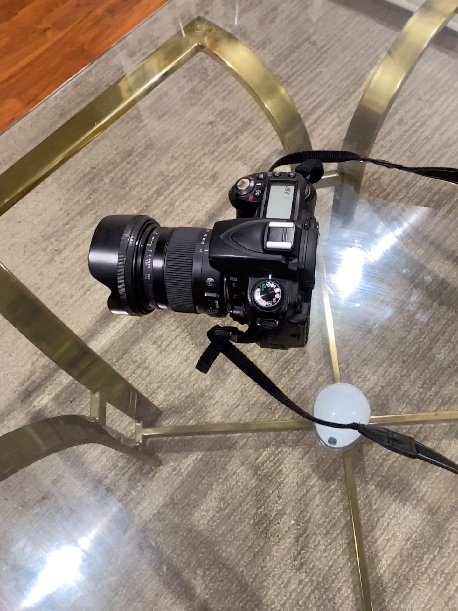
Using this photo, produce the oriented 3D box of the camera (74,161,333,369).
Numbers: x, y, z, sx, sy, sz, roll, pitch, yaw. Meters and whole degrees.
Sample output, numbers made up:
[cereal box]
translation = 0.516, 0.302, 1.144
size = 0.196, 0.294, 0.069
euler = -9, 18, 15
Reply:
[camera]
translation = -0.008, -0.032, 0.403
size = 0.180, 0.120, 0.130
euler = 3, 65, 9
